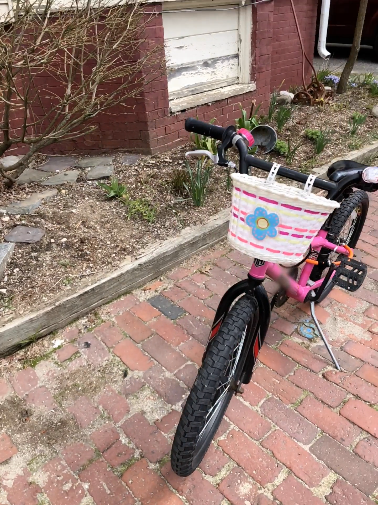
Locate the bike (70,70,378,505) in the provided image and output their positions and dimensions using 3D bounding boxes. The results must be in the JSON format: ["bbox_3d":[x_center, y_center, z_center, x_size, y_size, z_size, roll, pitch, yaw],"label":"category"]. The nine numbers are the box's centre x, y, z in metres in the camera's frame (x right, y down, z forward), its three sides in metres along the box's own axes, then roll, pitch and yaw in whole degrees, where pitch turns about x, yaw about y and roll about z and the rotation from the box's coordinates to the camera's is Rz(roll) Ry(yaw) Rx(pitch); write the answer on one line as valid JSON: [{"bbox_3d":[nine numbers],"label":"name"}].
[{"bbox_3d":[0.479,-0.006,1.225,0.711,0.907,1.345,17,33,32],"label":"bike"}]
